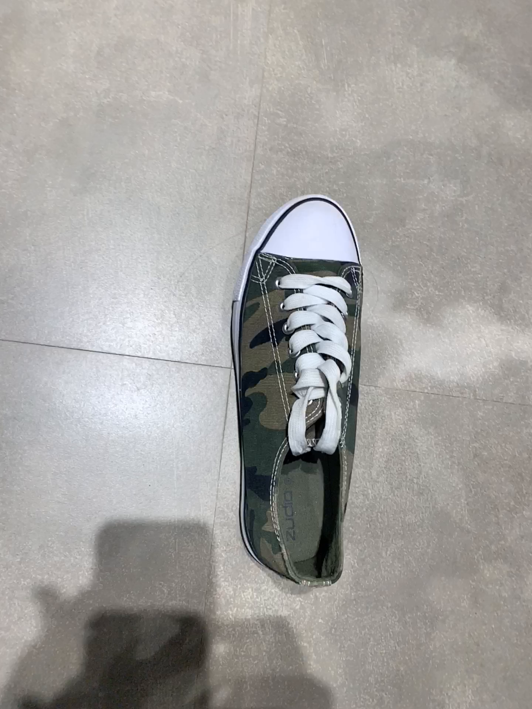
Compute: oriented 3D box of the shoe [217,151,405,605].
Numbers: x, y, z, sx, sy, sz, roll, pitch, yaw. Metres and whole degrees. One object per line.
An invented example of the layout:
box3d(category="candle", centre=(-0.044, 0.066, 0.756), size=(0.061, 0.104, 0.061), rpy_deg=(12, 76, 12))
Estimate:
box3d(category="shoe", centre=(0.025, 0.013, 0.363), size=(0.099, 0.079, 0.266), rpy_deg=(3, 79, -10))
